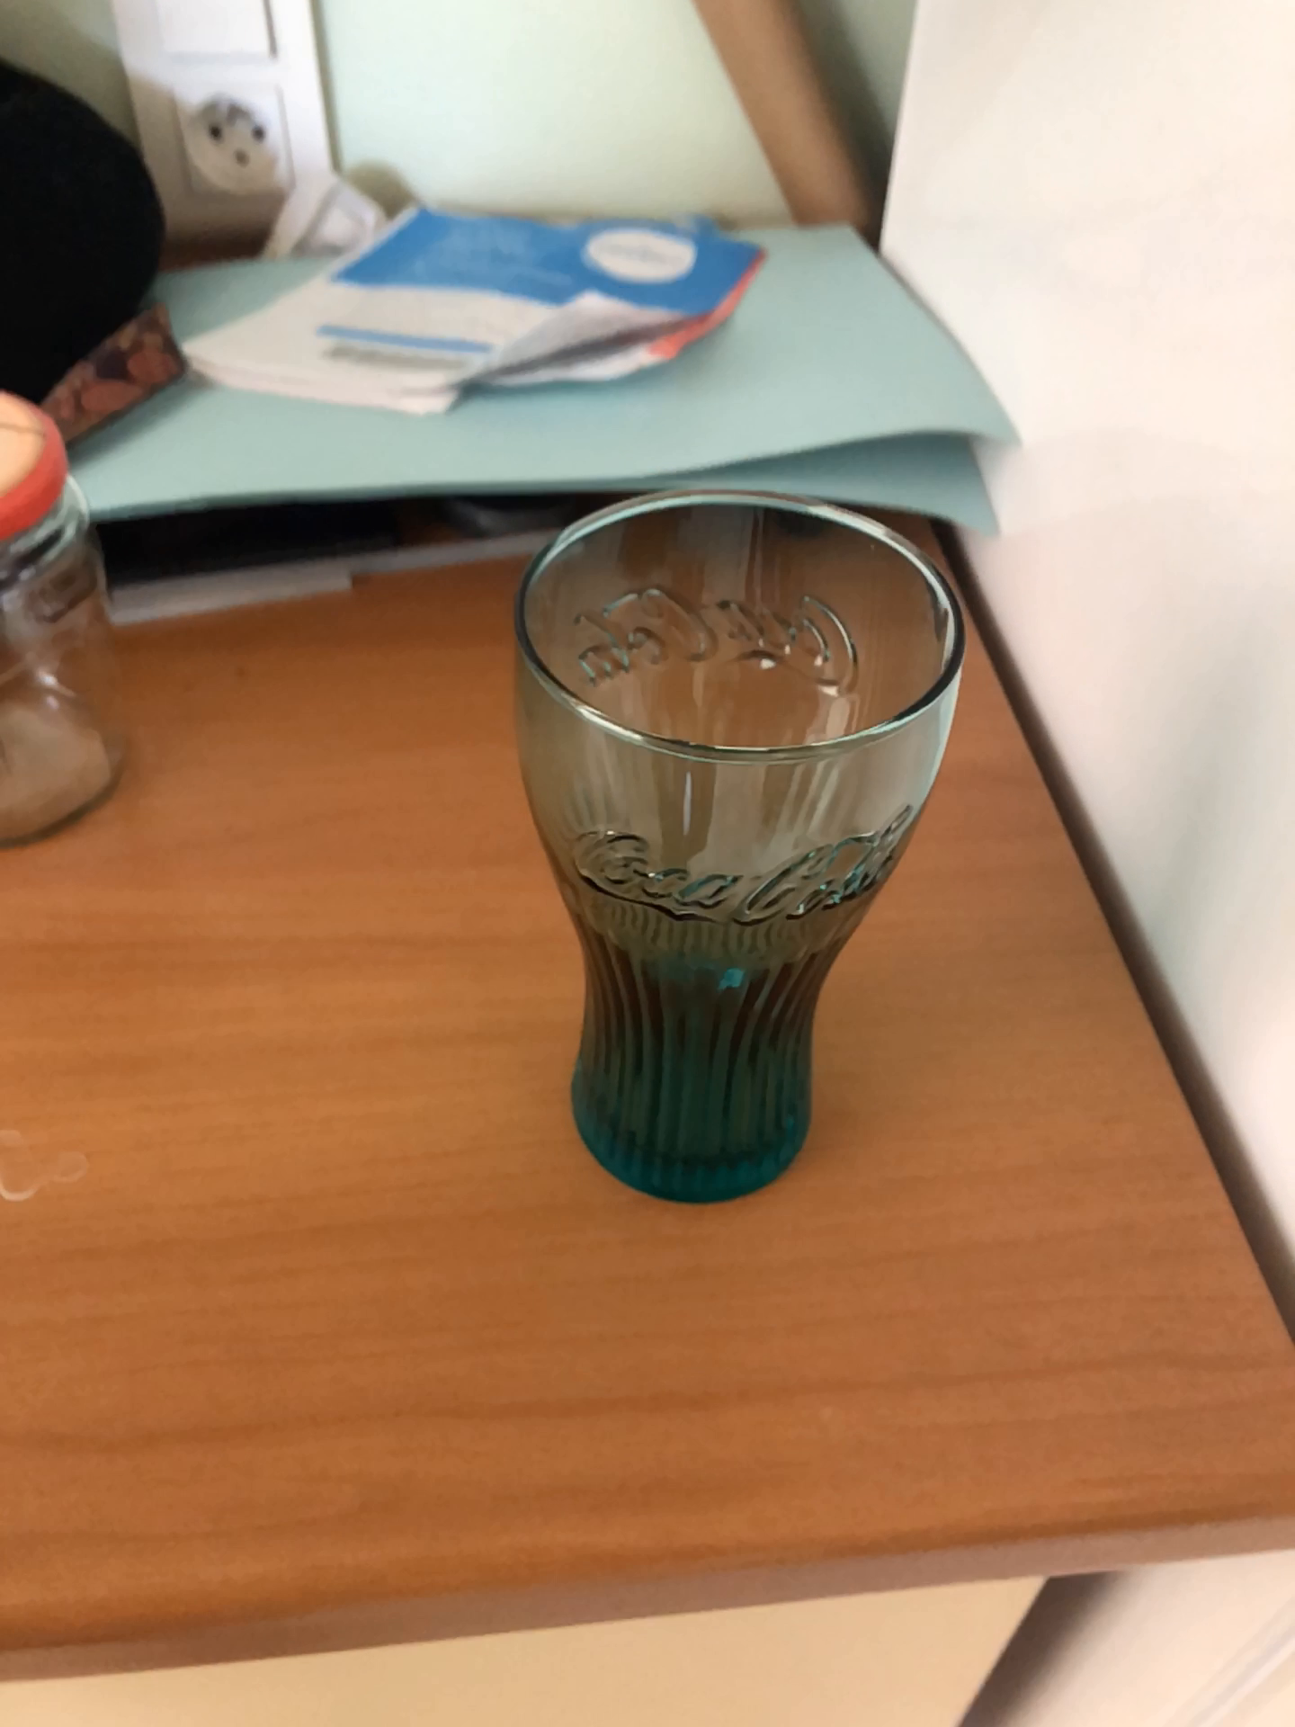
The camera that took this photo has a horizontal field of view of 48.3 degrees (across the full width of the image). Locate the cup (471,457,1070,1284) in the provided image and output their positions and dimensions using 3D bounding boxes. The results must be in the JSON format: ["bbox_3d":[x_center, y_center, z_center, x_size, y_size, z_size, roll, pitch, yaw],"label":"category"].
[{"bbox_3d":[0.013,0.005,0.287,0.080,0.139,0.080,2,45,-2],"label":"cup"}]
